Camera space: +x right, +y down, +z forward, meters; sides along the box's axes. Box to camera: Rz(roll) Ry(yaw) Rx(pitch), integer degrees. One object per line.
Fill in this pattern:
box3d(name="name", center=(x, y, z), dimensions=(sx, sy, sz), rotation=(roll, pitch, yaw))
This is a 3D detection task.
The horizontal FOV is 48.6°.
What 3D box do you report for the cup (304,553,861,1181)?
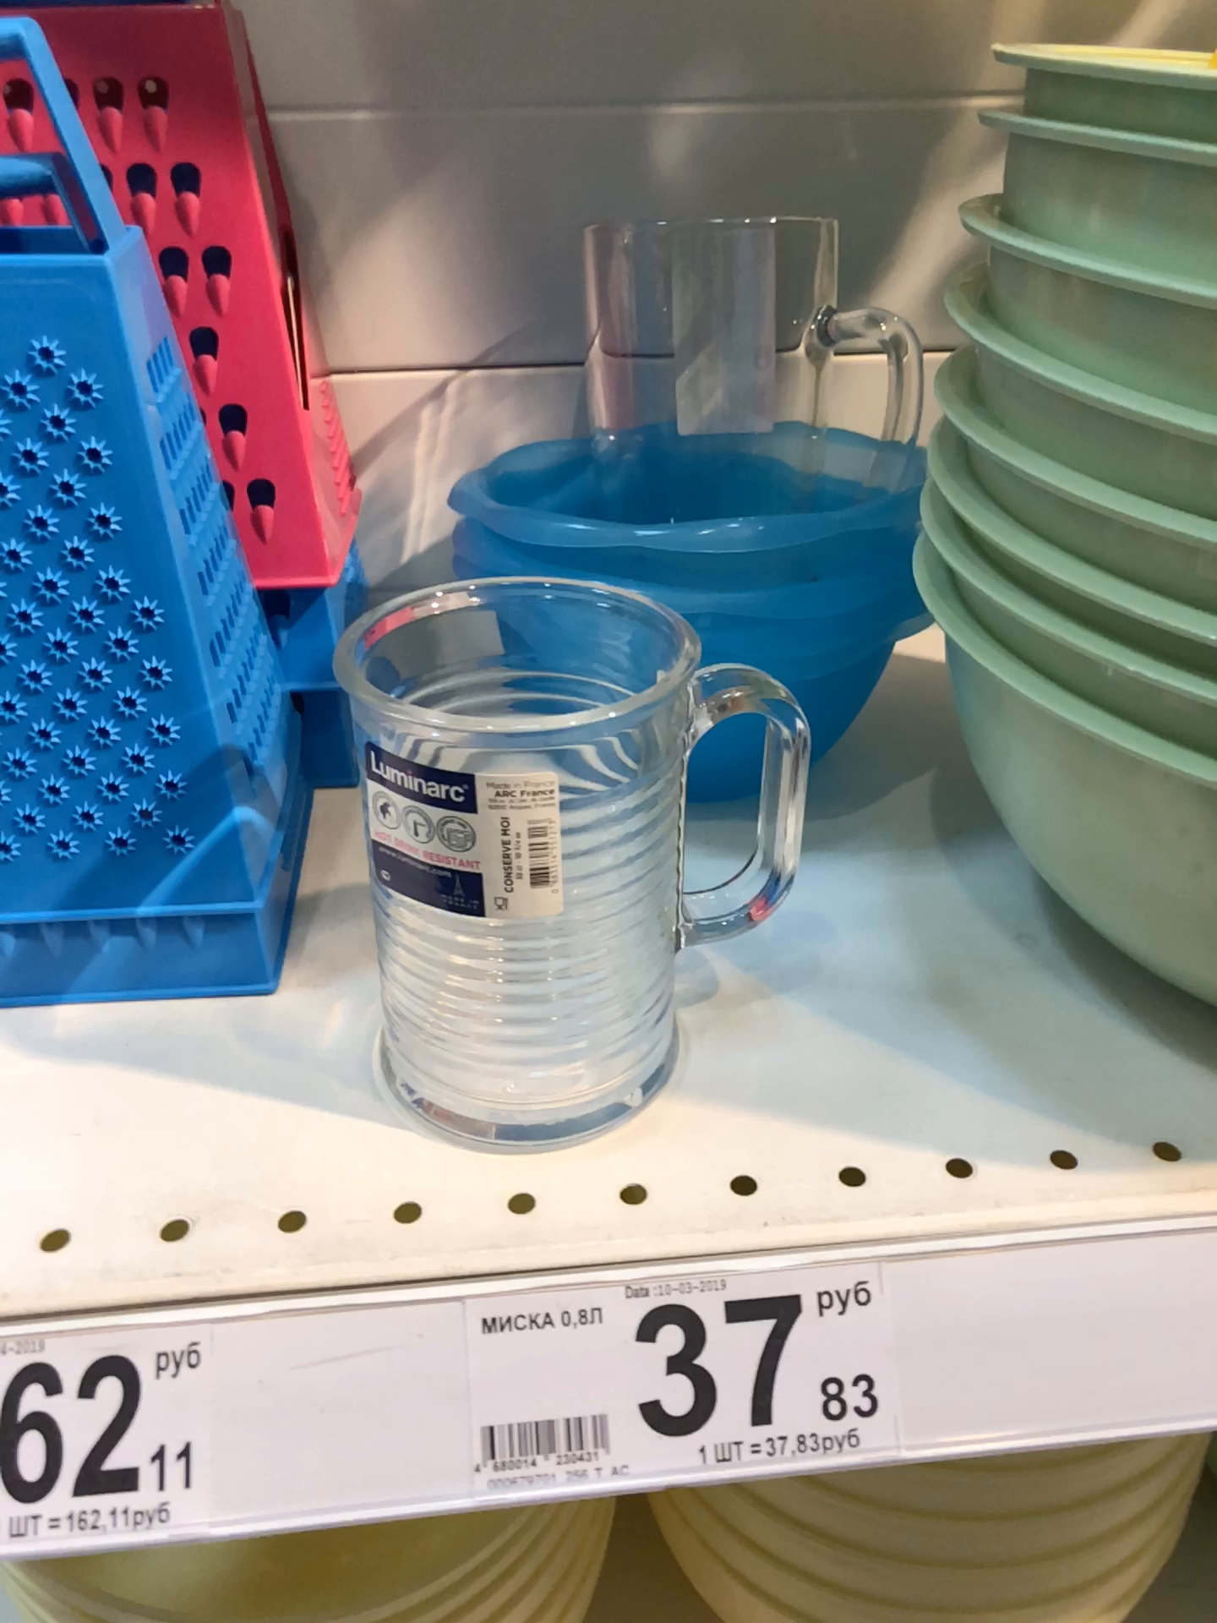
box3d(name="cup", center=(-0.009, 0.010, 0.309), dimensions=(0.102, 0.104, 0.087), rotation=(-5, 33, -6))
